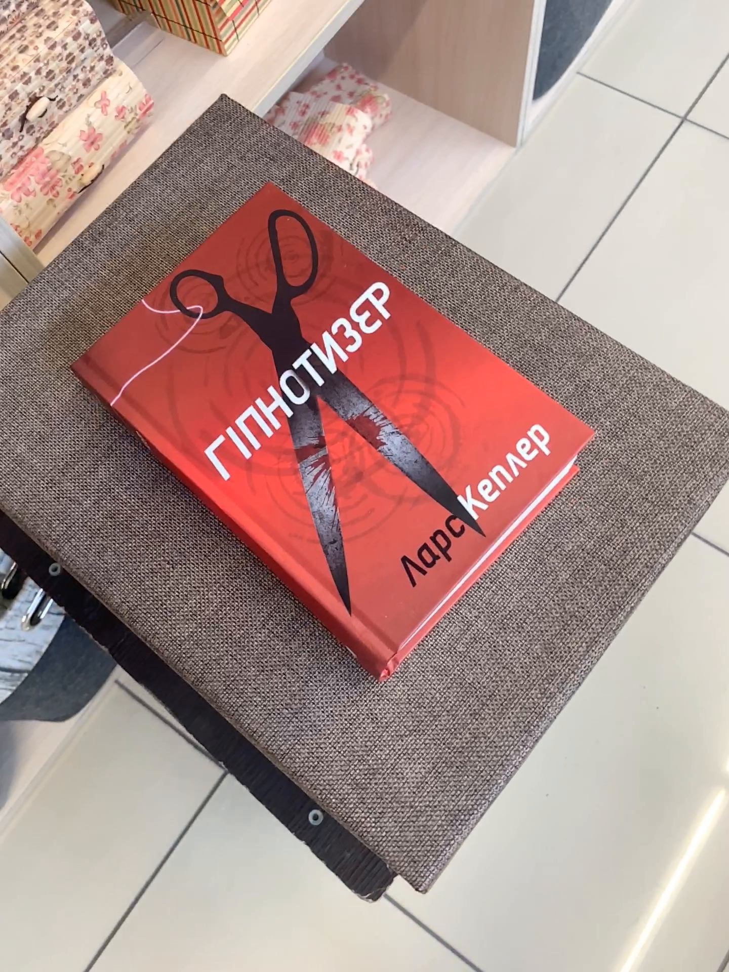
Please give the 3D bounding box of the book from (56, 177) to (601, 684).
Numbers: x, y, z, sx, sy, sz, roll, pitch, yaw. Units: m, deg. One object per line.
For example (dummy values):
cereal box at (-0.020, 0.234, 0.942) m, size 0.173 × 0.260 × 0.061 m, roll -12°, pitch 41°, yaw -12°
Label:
book at (-0.018, -0.029, 0.341) m, size 0.195 × 0.050 × 0.132 m, roll 41°, pitch 80°, yaw 15°
